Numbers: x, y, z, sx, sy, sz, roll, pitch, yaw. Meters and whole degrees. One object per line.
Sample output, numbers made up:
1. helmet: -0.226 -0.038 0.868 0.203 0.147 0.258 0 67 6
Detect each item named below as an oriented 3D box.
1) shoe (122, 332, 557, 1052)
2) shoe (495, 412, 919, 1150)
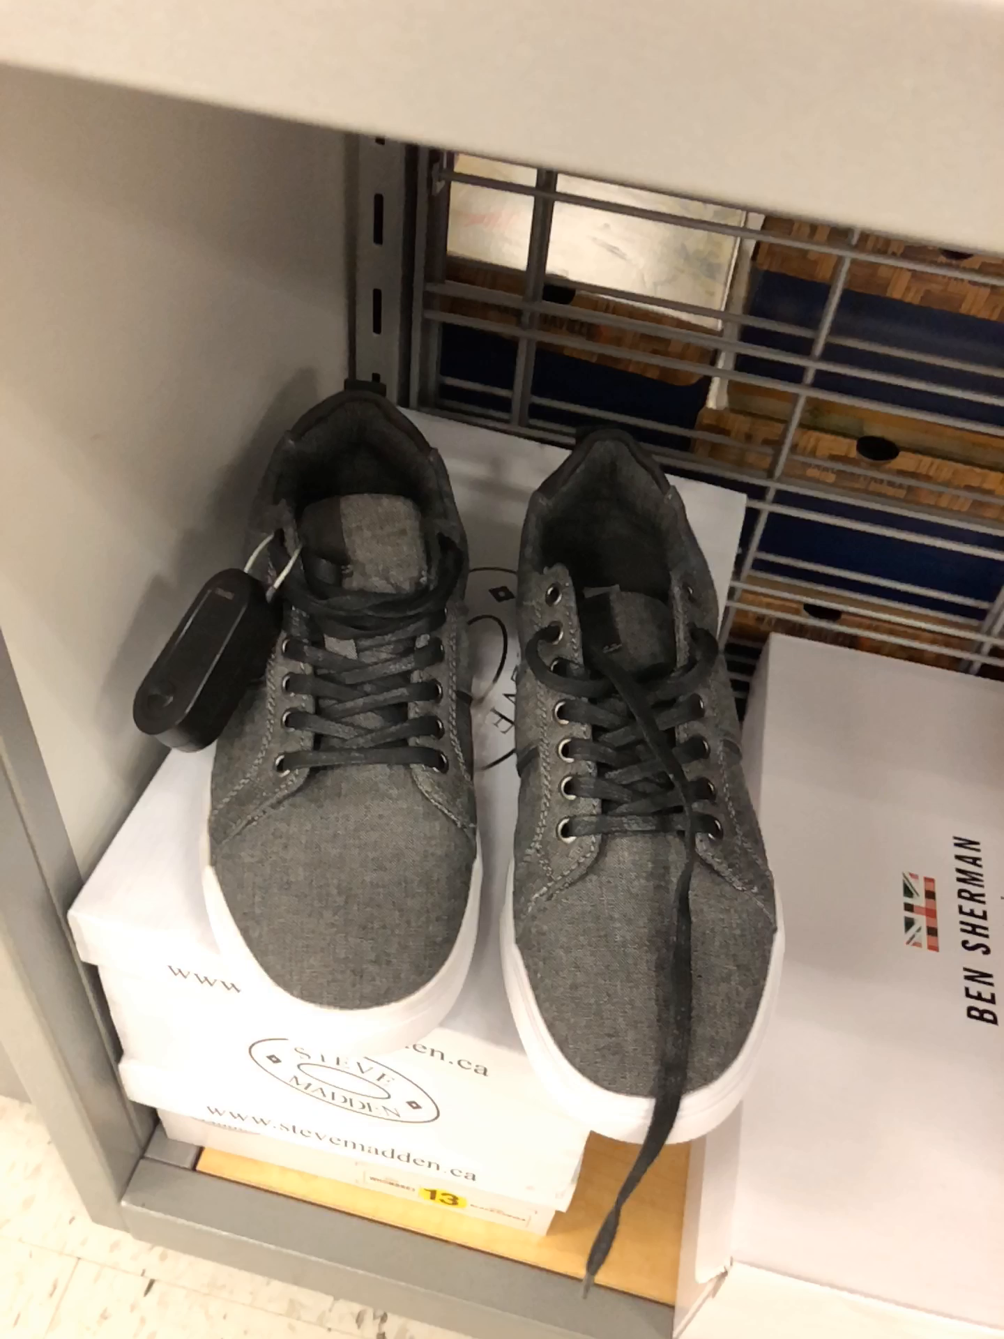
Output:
1. shoe: -0.054 -0.006 0.409 0.110 0.106 0.255 1 47 -7
2. shoe: 0.053 0.026 0.411 0.100 0.106 0.255 4 47 -4
